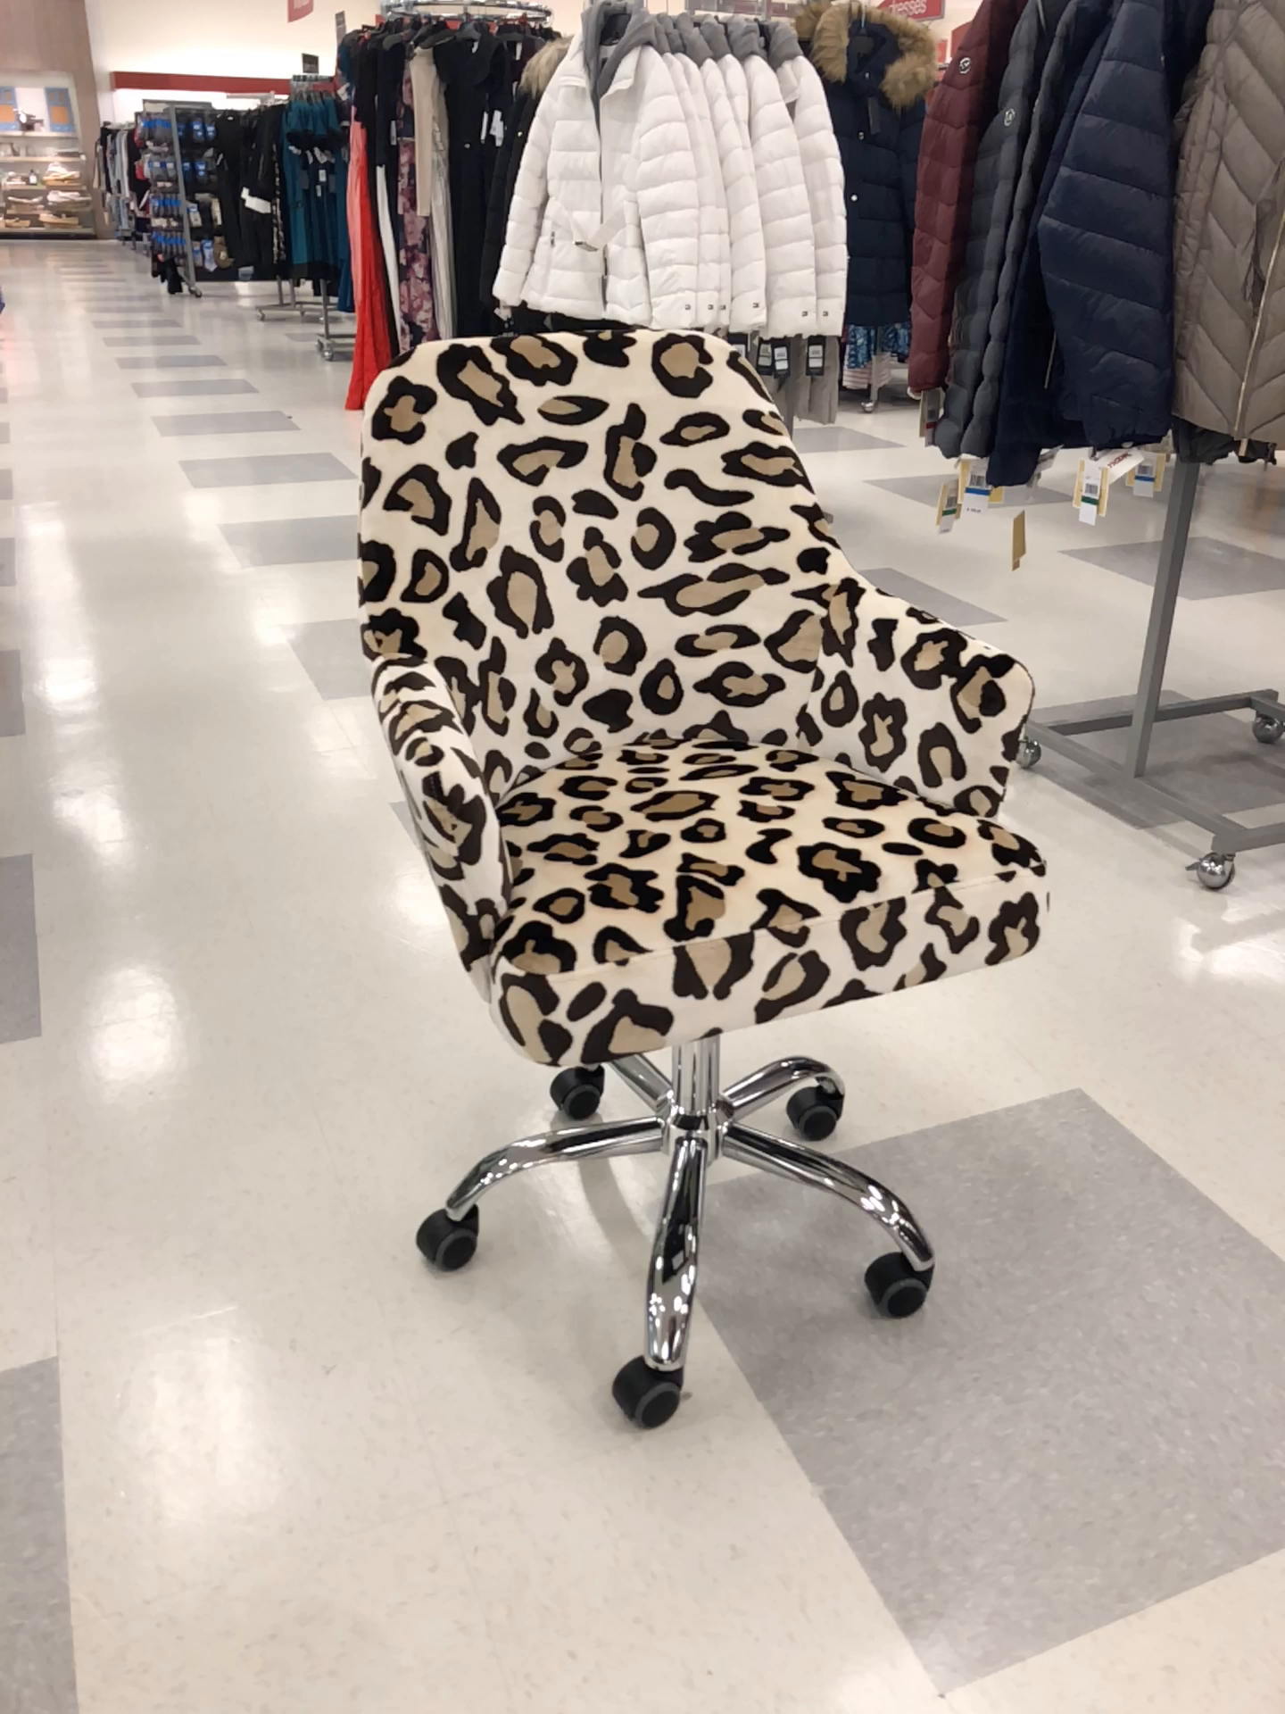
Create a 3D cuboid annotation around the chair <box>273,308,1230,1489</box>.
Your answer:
[{"bbox_3d":[0.041,-0.031,1.360,0.600,0.888,0.581,-10,27,-22],"label":"chair"}]
